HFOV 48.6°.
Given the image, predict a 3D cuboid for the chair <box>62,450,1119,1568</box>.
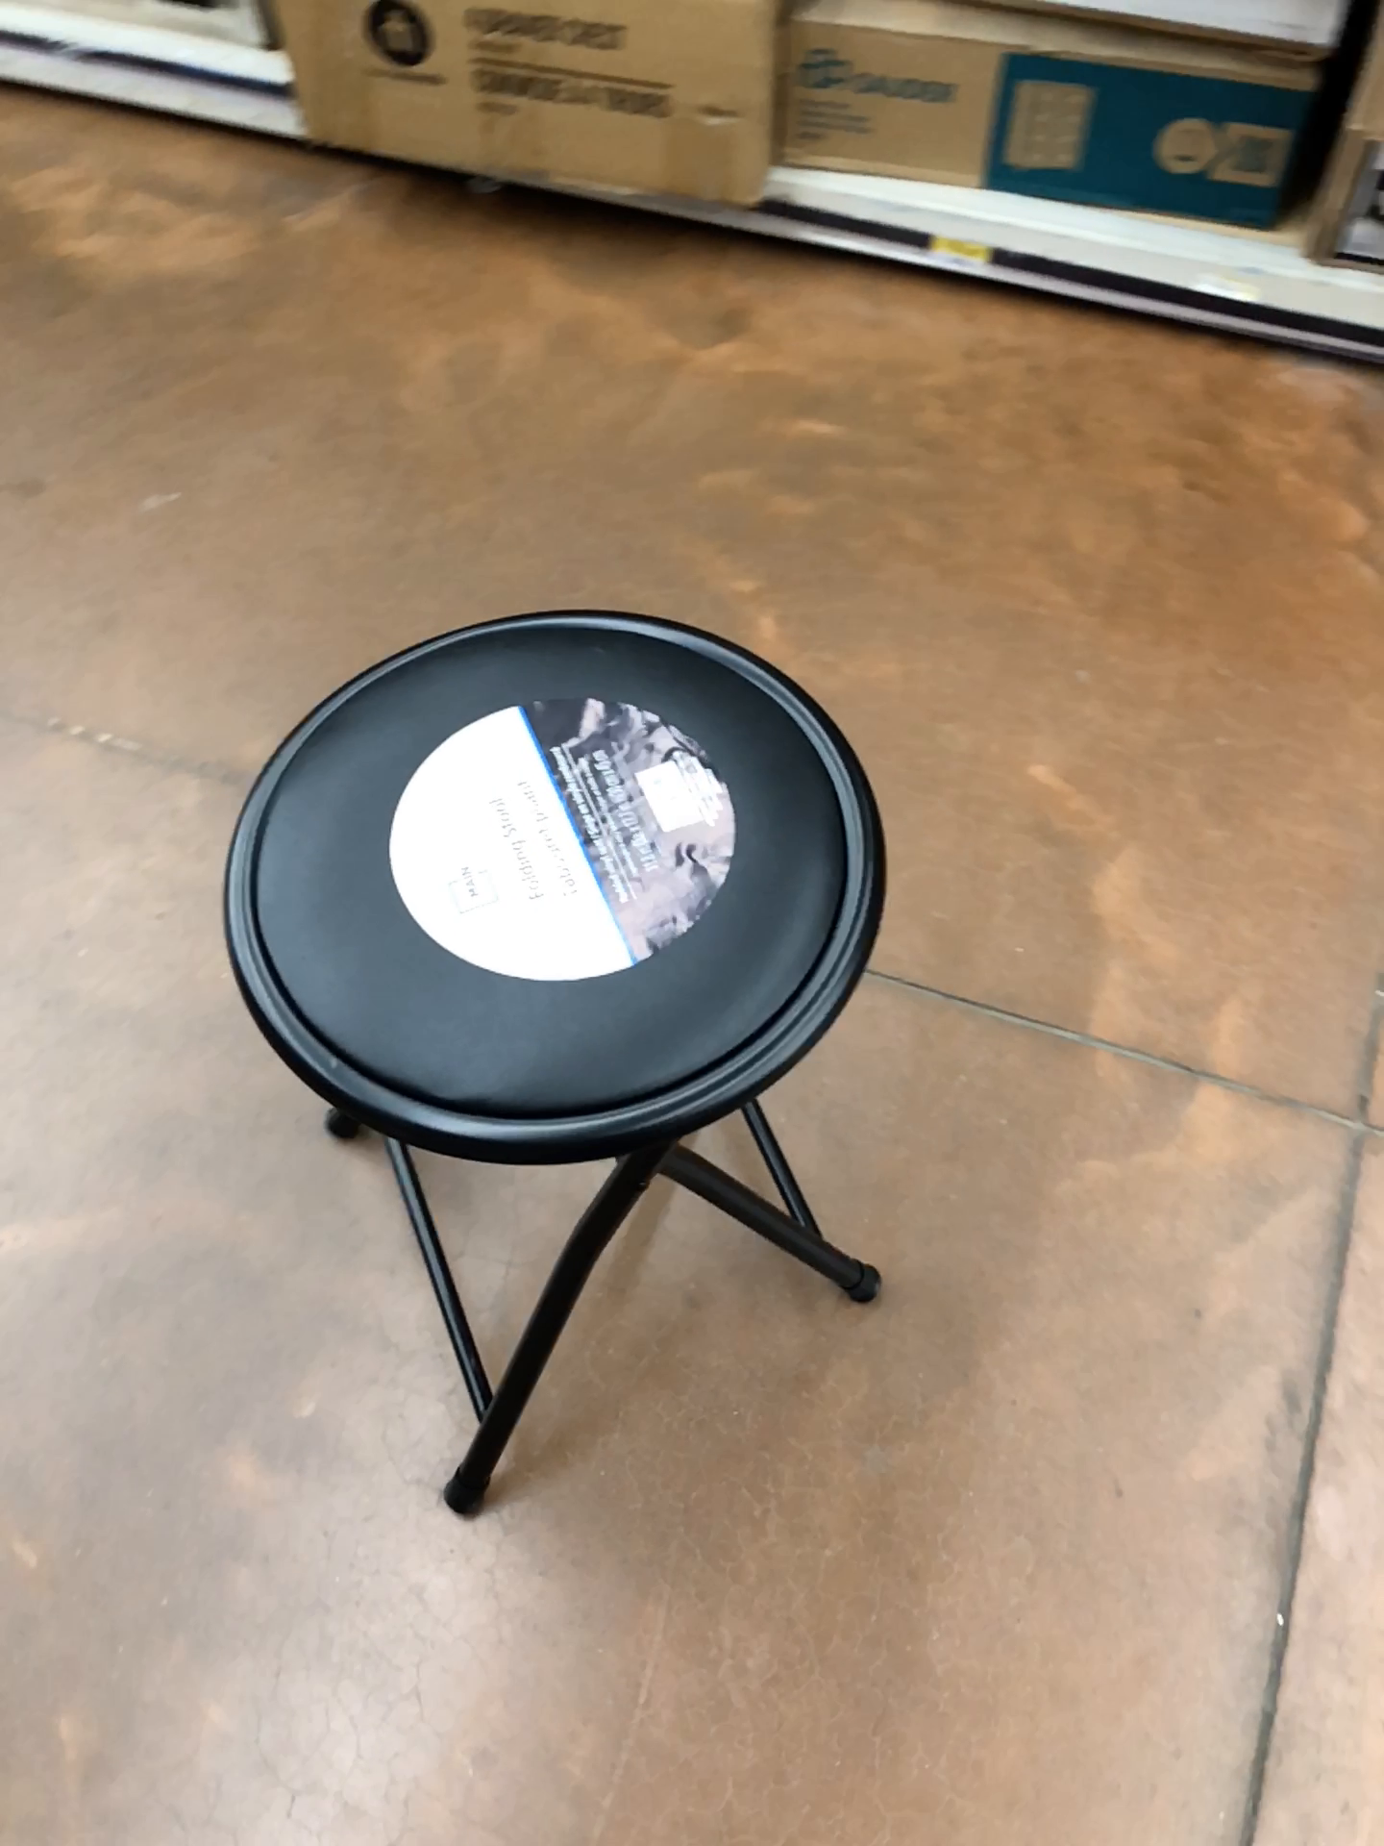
[{"bbox_3d":[-0.052,0.063,0.787,0.330,0.399,0.320,-22,59,-12],"label":"chair"}]
